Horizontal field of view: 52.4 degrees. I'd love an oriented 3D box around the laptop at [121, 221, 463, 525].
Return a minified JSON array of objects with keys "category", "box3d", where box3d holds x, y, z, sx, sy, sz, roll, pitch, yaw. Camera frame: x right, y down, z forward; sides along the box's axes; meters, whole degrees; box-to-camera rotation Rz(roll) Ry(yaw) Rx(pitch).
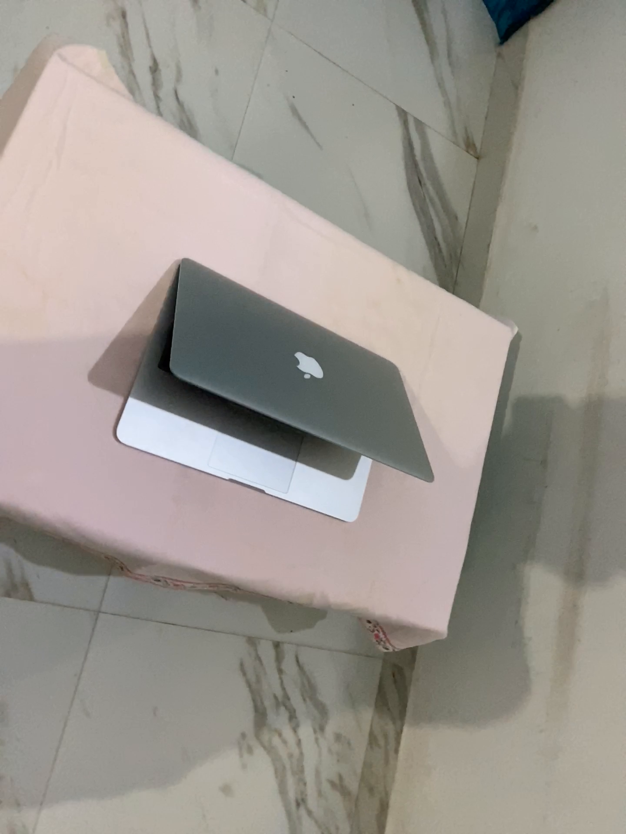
[{"category":"laptop","box3d":[-0.014,-0.027,0.693,0.297,0.138,0.208,23,75,-26]}]
